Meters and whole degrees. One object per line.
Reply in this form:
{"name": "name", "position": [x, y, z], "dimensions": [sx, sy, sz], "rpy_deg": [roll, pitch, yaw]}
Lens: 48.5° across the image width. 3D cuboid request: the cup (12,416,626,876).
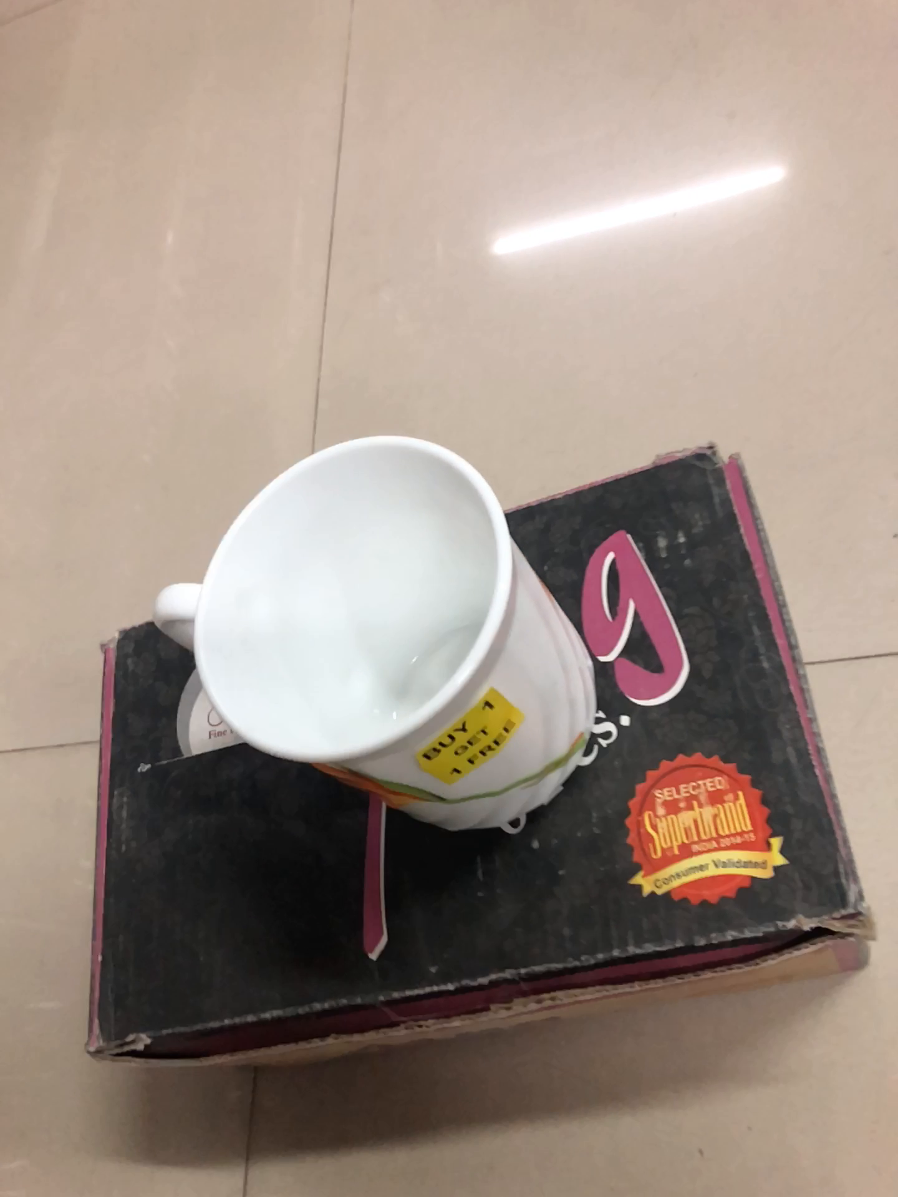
{"name": "cup", "position": [-0.024, 0.013, 0.255], "dimensions": [0.110, 0.090, 0.080], "rpy_deg": [4, 68, 25]}
